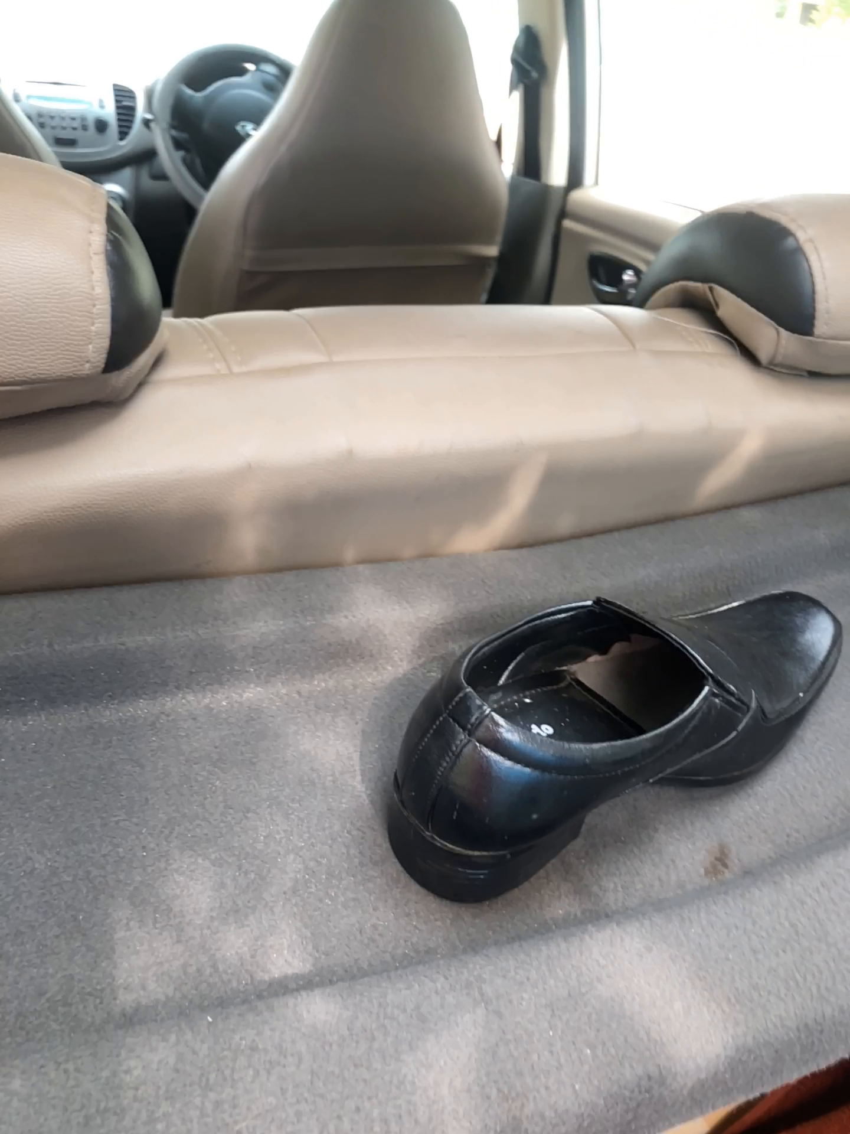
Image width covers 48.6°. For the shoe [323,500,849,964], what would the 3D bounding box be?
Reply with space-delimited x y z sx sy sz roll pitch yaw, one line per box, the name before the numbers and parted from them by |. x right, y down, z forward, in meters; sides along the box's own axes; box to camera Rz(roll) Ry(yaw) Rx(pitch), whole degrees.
shoe | 0.107 0.055 0.454 0.301 0.080 0.100 -17 40 -36
